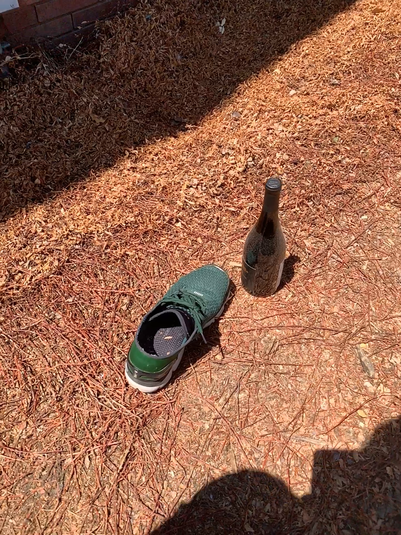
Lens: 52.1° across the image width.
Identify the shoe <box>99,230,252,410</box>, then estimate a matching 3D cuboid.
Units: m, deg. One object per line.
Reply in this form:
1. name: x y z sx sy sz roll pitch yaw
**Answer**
1. shoe: -0.034 0.085 0.788 0.130 0.099 0.321 24 53 17
